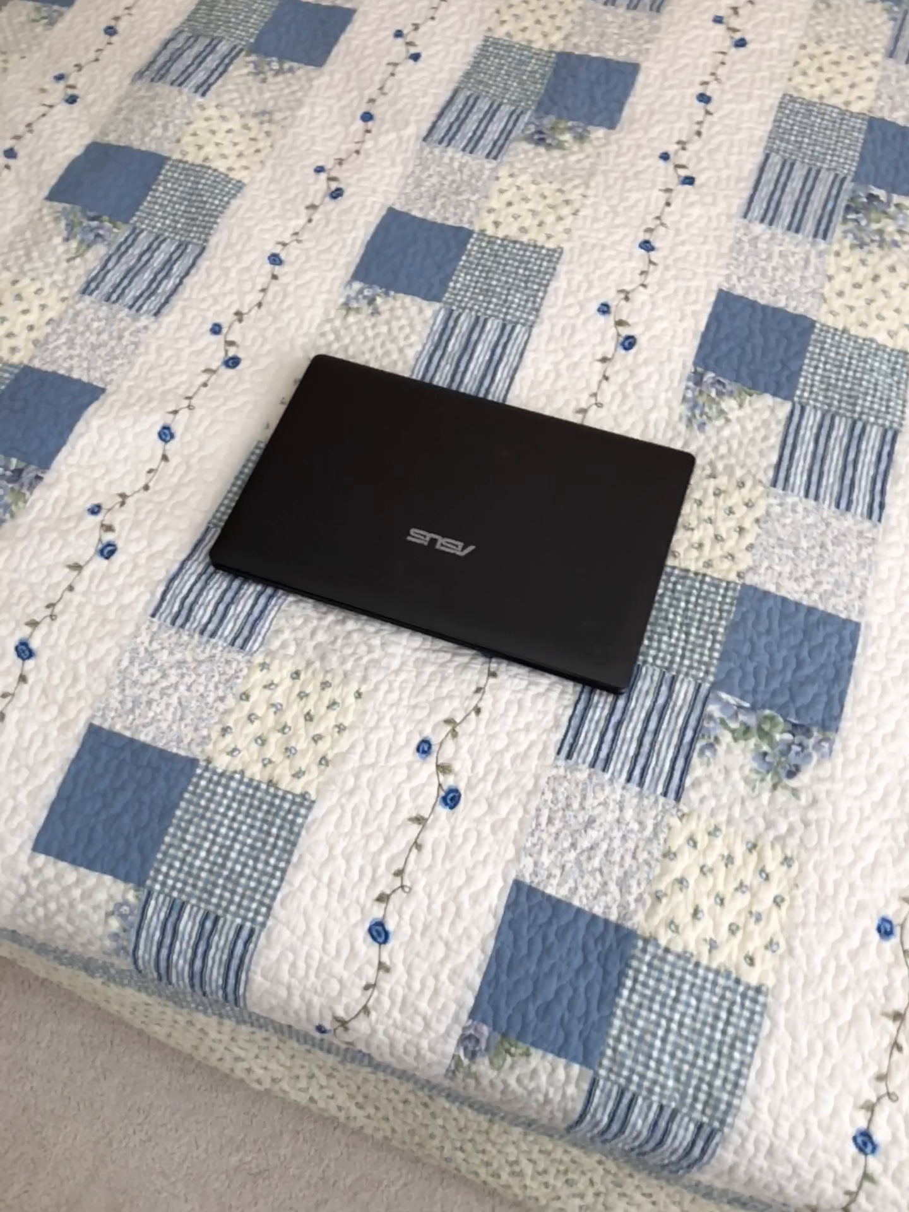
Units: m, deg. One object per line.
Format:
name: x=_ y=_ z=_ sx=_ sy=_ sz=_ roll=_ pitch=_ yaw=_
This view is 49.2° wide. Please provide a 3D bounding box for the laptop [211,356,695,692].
laptop: x=0.003 y=-0.086 z=0.872 sx=0.369 sy=0.006 sz=0.235 roll=17 pitch=65 yaw=10
